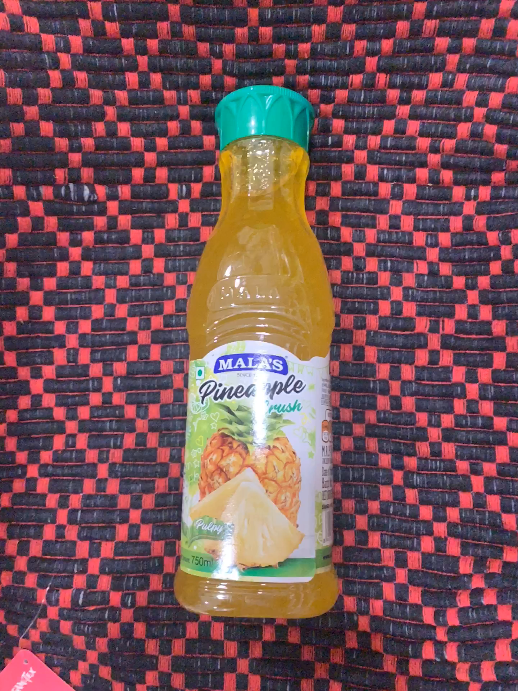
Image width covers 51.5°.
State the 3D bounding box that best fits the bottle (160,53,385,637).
[{"bbox_3d":[0.007,-0.005,0.245,0.080,0.070,0.230,0,80,3],"label":"bottle"}]
